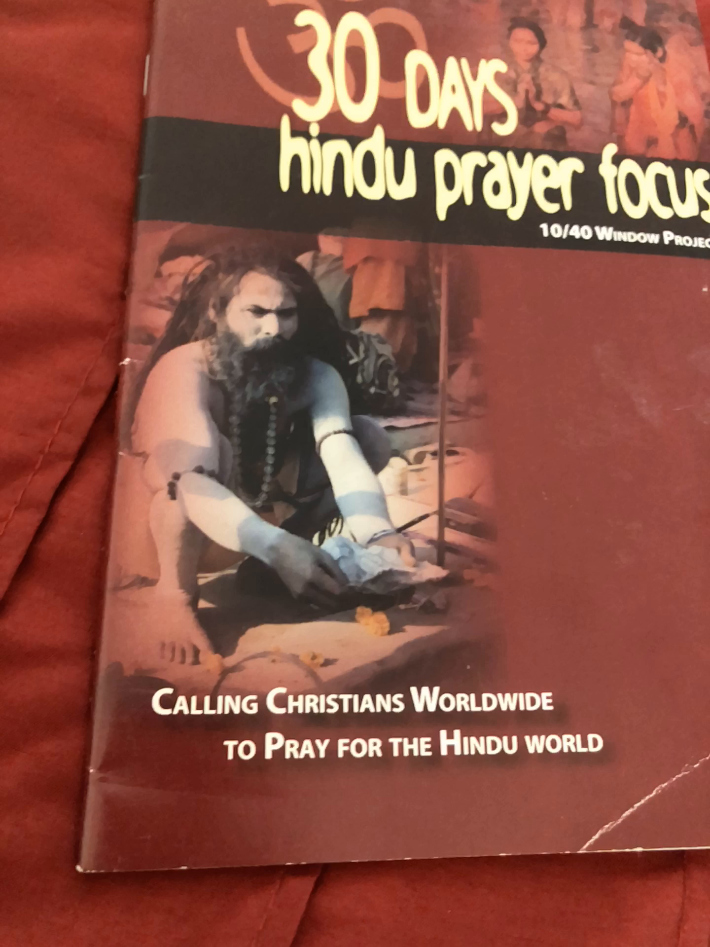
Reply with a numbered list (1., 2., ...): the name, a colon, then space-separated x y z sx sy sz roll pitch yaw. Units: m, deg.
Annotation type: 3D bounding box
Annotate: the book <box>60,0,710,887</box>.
1. book: 0.023 -0.033 0.170 0.142 0.010 0.210 2 72 -9
